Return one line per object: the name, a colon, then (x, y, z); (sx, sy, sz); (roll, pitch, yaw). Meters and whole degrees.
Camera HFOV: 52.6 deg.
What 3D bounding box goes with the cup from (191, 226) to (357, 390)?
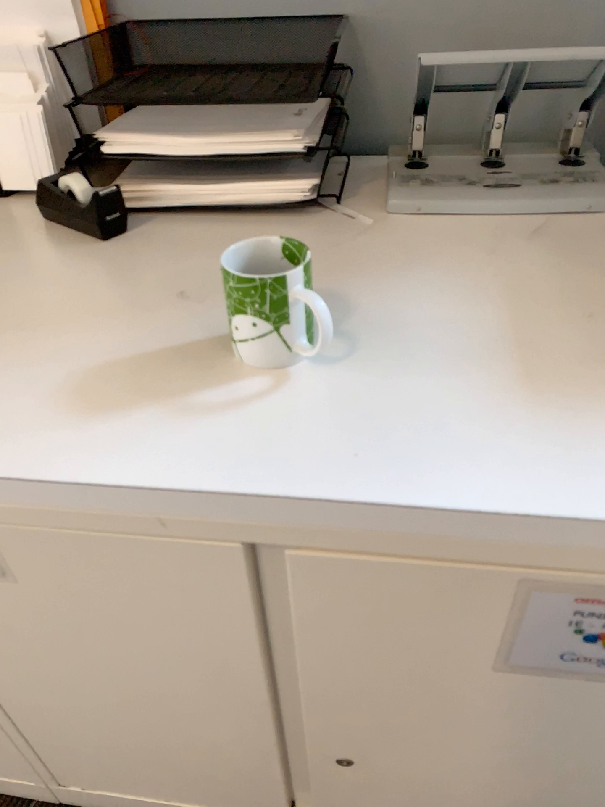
cup: (-0.021, -0.085, 0.528); (0.110, 0.090, 0.080); (22, 46, 28)
